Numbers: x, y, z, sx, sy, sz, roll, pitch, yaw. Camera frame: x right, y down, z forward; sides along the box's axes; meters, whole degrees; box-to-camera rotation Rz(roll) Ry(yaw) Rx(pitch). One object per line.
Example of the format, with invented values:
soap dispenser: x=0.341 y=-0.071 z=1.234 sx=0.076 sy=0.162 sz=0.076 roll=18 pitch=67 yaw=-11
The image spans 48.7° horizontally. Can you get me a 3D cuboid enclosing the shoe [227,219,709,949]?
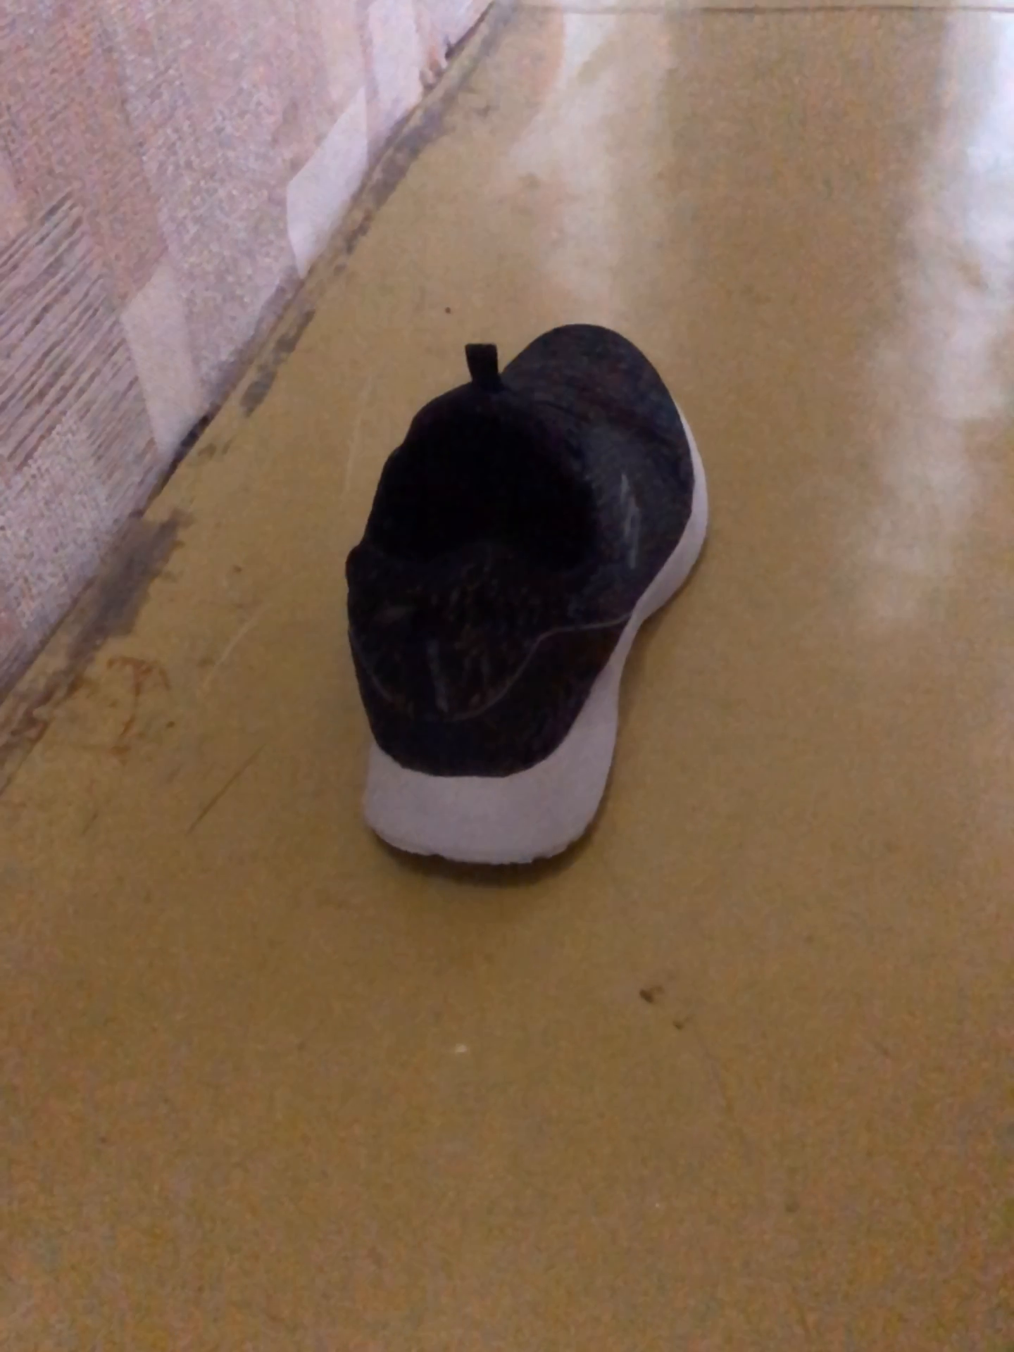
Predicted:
shoe: x=0.009 y=-0.064 z=0.492 sx=0.120 sy=0.129 sz=0.321 roll=7 pitch=47 yaw=11
